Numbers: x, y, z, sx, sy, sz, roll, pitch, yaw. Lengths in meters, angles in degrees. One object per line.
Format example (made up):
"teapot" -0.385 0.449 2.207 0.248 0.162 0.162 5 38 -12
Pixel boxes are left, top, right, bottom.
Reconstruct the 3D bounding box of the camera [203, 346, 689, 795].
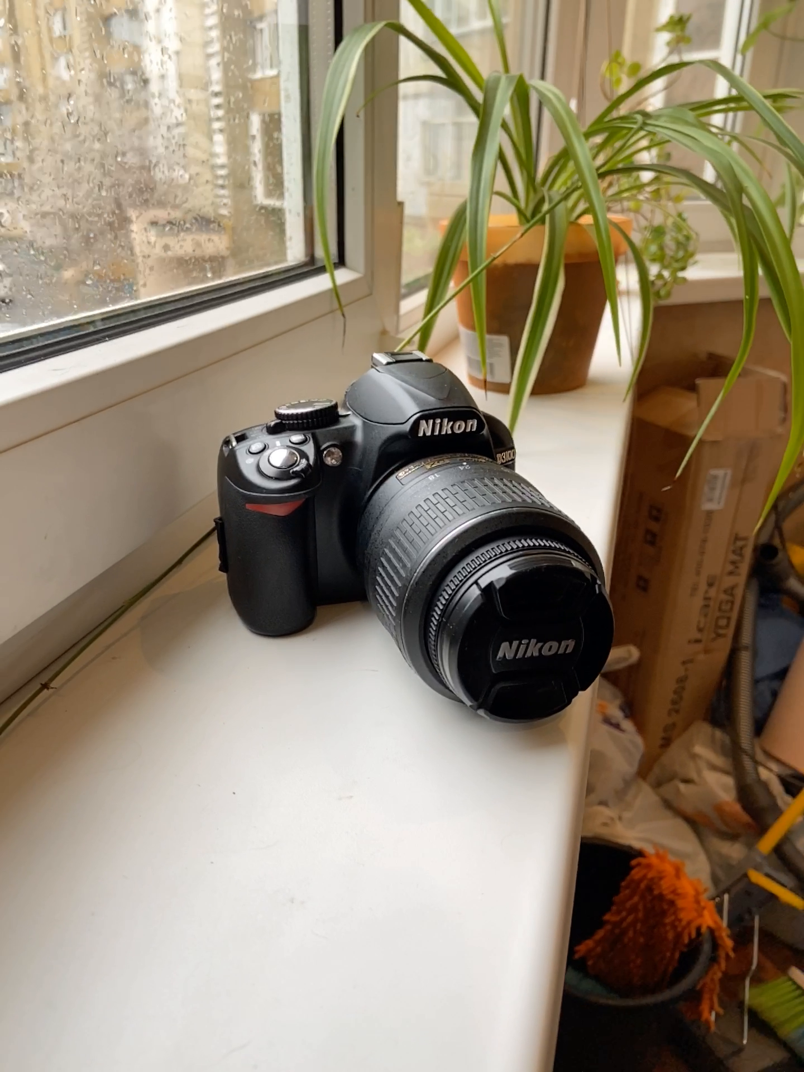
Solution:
"camera" -0.001 -0.006 0.307 0.122 0.092 0.159 -6 25 -16
